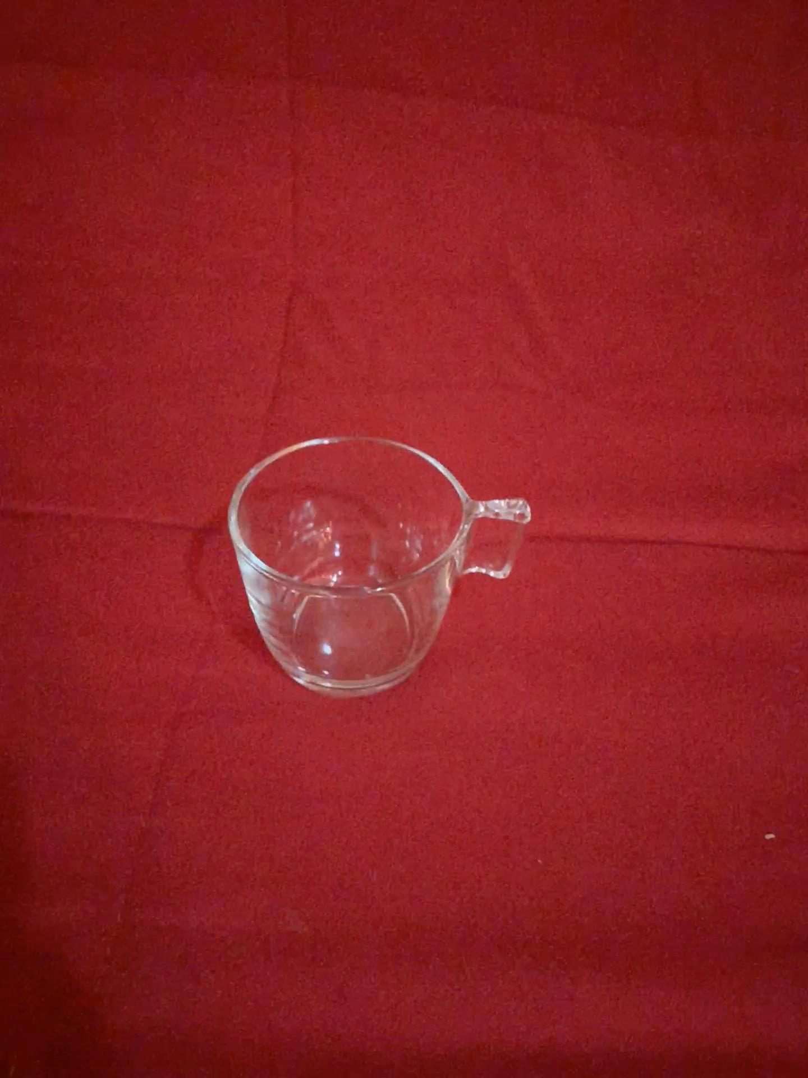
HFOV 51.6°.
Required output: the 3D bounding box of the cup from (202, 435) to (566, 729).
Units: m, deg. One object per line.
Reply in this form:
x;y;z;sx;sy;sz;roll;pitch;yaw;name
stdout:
-0.008;0.015;0.323;0.116;0.069;0.090;0;45;-2;cup
